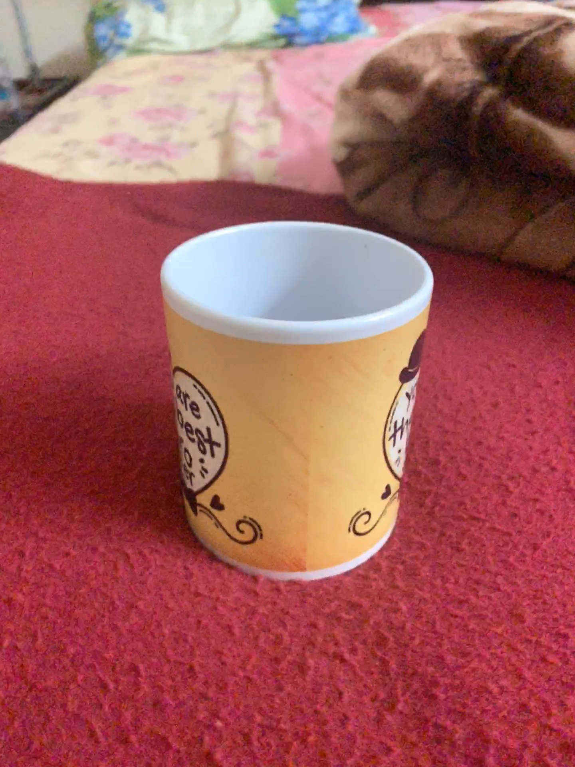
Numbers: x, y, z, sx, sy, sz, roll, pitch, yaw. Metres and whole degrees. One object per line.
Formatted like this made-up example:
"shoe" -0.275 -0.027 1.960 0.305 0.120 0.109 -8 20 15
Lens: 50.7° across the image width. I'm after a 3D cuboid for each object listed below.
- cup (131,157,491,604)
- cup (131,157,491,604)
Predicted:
"cup" 0.011 -0.007 0.211 0.080 0.109 0.111 0 34 5
"cup" 0.011 -0.007 0.211 0.080 0.109 0.111 0 34 5
